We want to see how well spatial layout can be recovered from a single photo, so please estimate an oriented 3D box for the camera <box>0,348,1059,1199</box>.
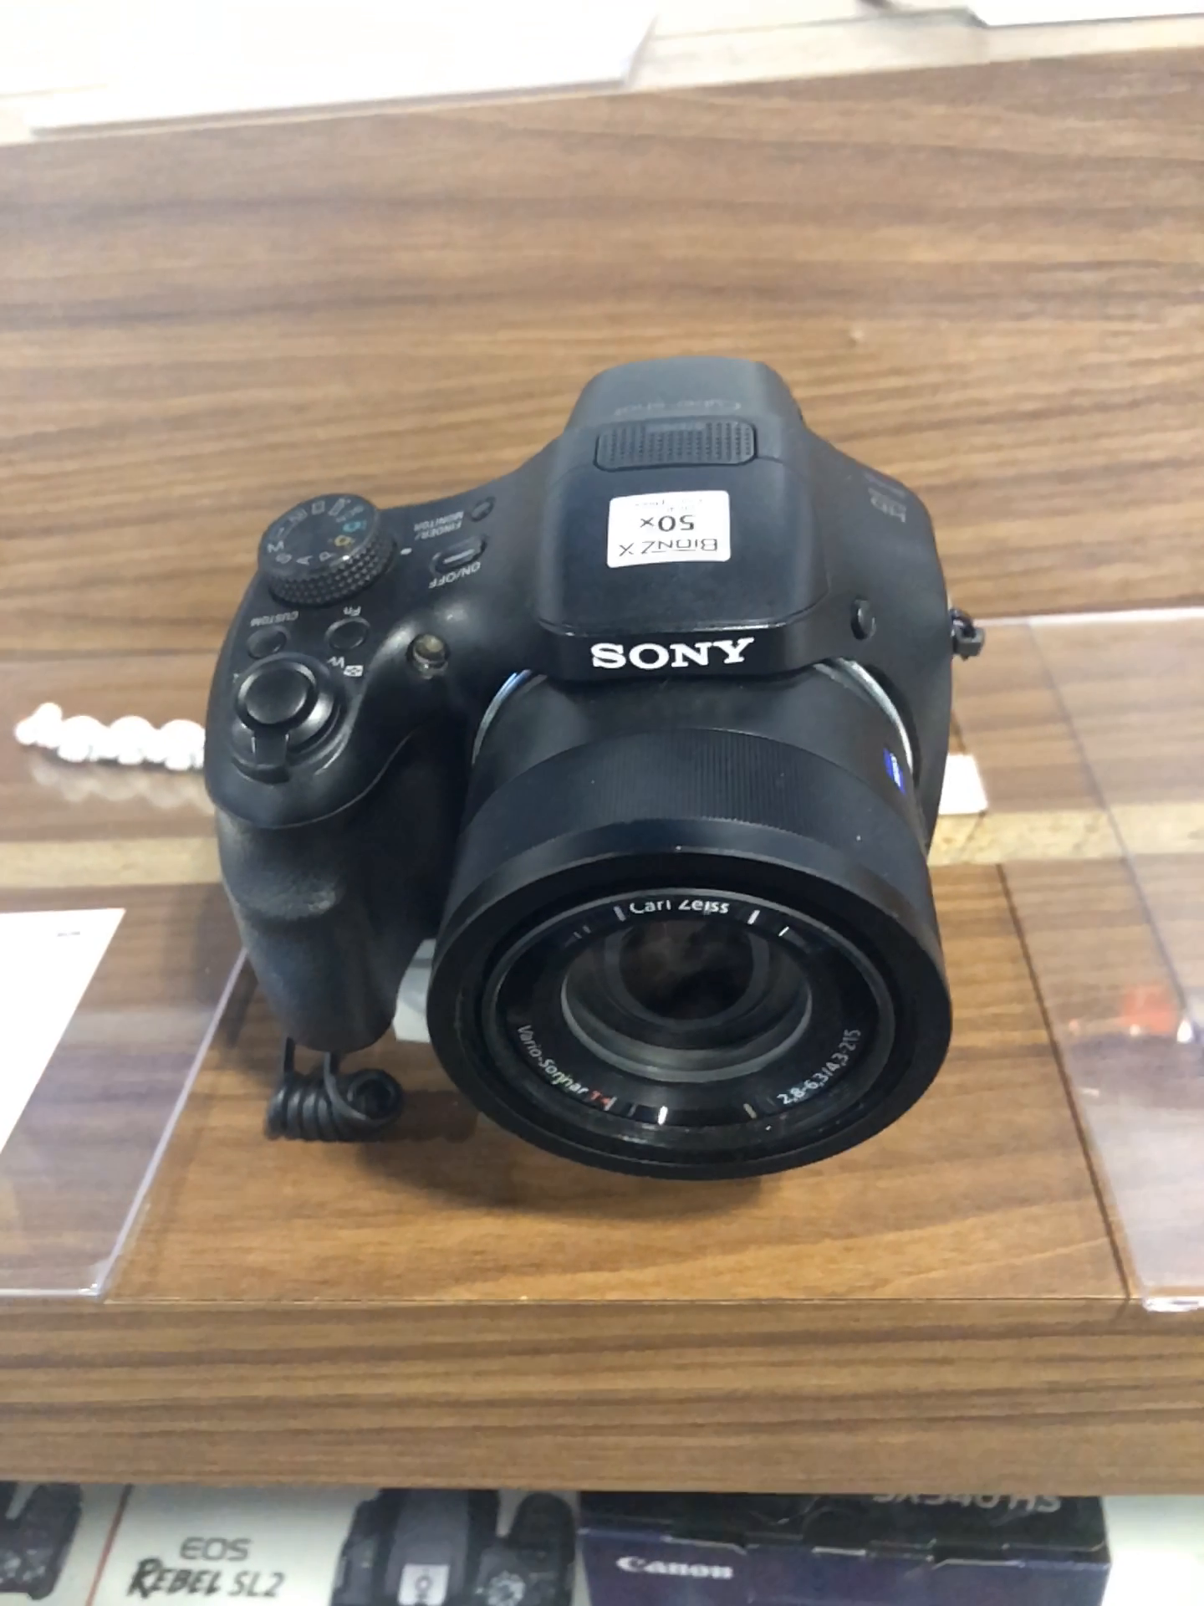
[{"bbox_3d":[-0.007,-0.010,0.214,0.125,0.084,0.110,-1,34,6],"label":"camera"}]
